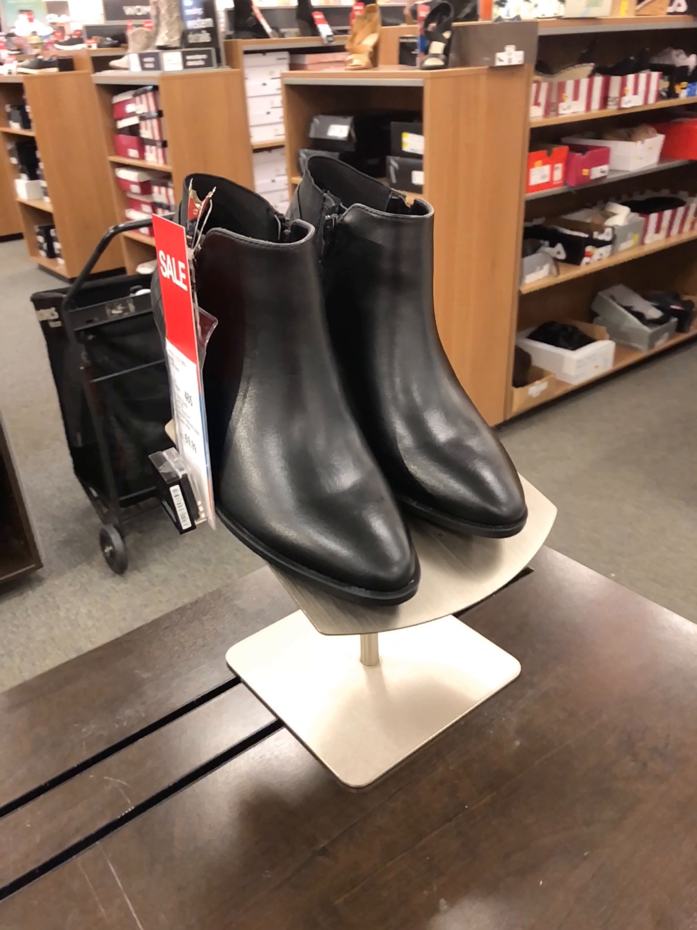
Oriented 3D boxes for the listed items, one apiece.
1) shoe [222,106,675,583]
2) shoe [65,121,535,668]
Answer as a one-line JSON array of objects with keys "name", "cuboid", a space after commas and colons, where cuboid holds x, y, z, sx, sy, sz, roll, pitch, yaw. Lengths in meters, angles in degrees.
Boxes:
[{"name": "shoe", "cuboid": [0.032, -0.081, 0.442, 0.105, 0.131, 0.244, -19, 55, -28]}, {"name": "shoe", "cuboid": [-0.044, -0.050, 0.392, 0.105, 0.131, 0.244, -19, 55, -28]}]
